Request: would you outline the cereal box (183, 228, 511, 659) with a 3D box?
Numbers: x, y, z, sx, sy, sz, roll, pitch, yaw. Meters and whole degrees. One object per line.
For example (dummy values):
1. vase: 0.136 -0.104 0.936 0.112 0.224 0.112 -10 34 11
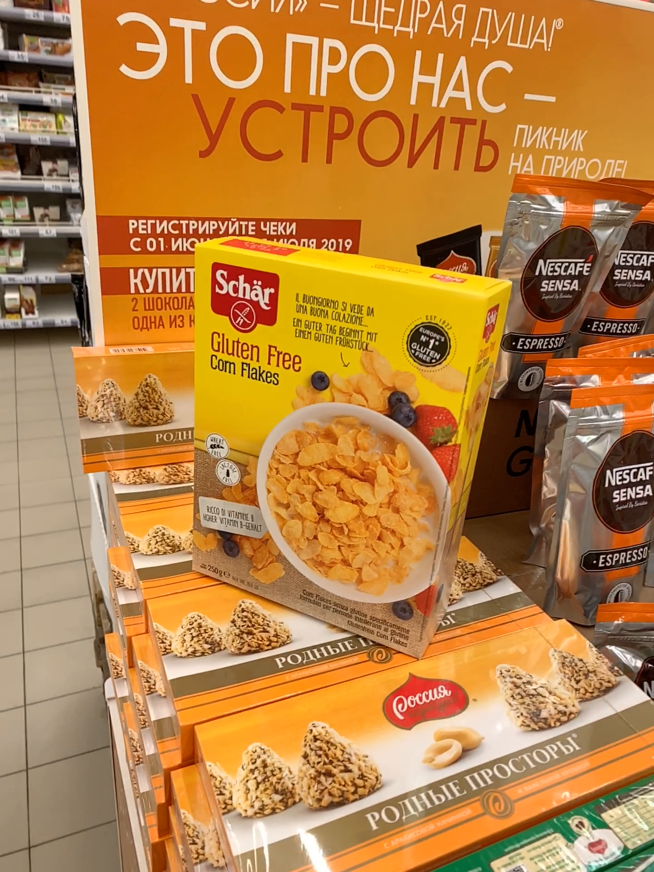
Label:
1. cereal box: 0.000 0.003 0.476 0.200 0.259 0.060 15 27 22
